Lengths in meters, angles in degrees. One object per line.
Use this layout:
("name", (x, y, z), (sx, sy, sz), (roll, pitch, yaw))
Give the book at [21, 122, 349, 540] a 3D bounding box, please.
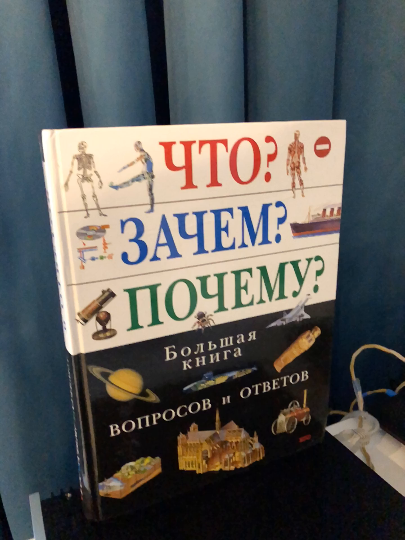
("book", (0.001, 0.045, 0.351), (0.224, 0.301, 0.042), (-9, 19, -22))
